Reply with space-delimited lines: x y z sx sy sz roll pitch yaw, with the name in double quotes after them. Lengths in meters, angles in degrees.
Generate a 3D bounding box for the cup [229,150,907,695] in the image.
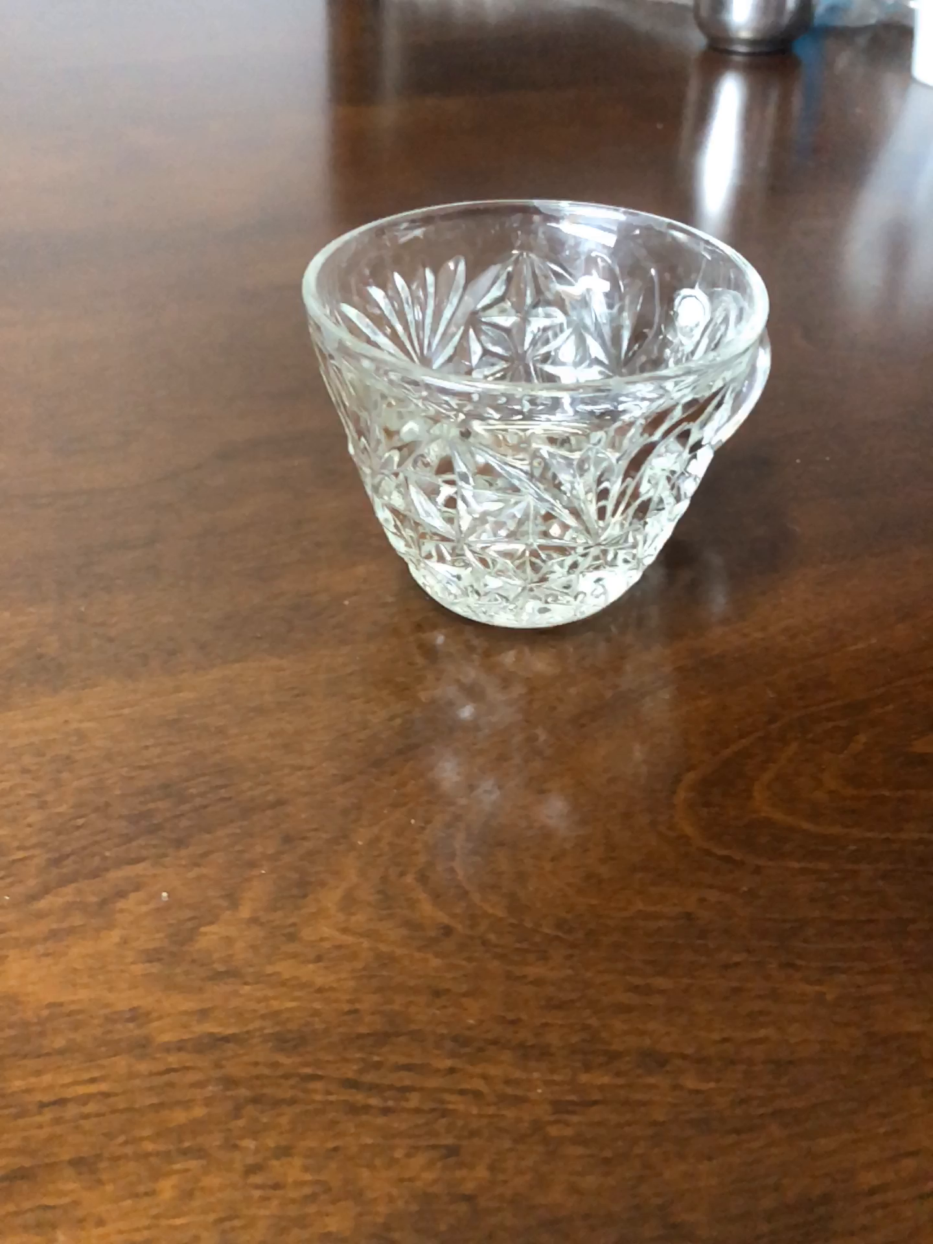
0.017 -0.045 0.209 0.100 0.060 0.070 -19 44 -20 "cup"
